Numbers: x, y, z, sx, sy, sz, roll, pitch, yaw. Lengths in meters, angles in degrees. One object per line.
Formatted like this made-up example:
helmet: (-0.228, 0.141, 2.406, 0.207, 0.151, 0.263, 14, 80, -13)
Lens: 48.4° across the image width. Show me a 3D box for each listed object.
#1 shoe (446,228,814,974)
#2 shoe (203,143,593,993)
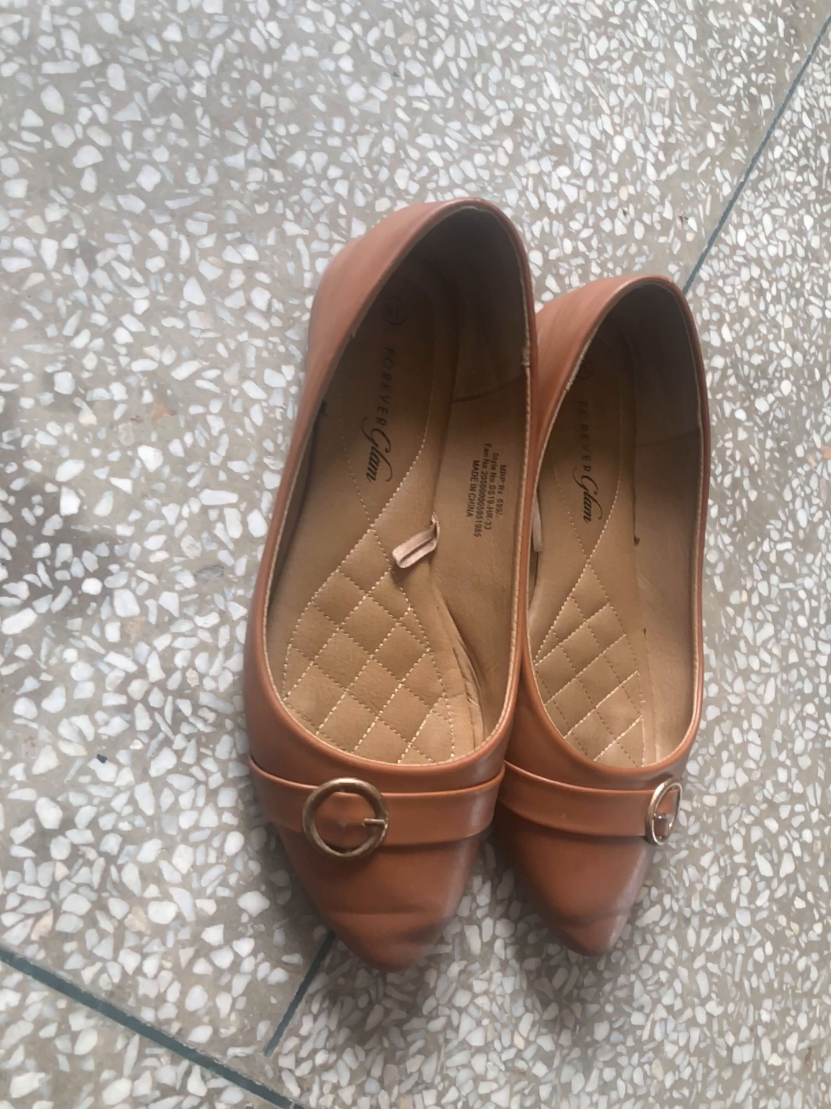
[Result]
shoe: (0.077, 0.020, 0.346, 0.090, 0.050, 0.250, 5, 94, -22)
shoe: (-0.009, 0.009, 0.310, 0.090, 0.050, 0.250, 5, 94, -22)
